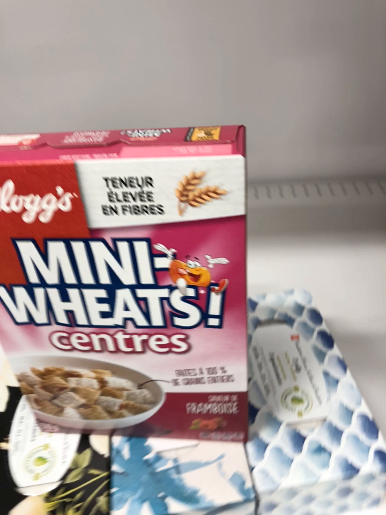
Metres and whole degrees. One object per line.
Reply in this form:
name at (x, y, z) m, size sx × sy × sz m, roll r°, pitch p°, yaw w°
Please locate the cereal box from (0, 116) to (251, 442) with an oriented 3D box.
cereal box at (-0.061, 0.037, 0.339) m, size 0.210 × 0.269 × 0.050 m, roll 0°, pitch 34°, yaw 7°
